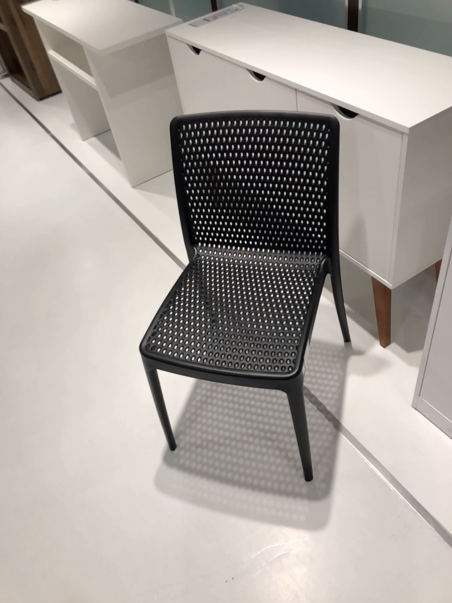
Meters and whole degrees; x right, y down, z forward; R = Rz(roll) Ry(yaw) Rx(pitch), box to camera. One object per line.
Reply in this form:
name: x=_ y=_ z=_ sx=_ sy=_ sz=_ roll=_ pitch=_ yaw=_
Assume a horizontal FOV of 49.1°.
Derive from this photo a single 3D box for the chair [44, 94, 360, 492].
chair: x=0.052 y=-0.006 z=1.371 sx=0.530 sy=0.865 sz=0.603 roll=6 pitch=47 yaw=18
